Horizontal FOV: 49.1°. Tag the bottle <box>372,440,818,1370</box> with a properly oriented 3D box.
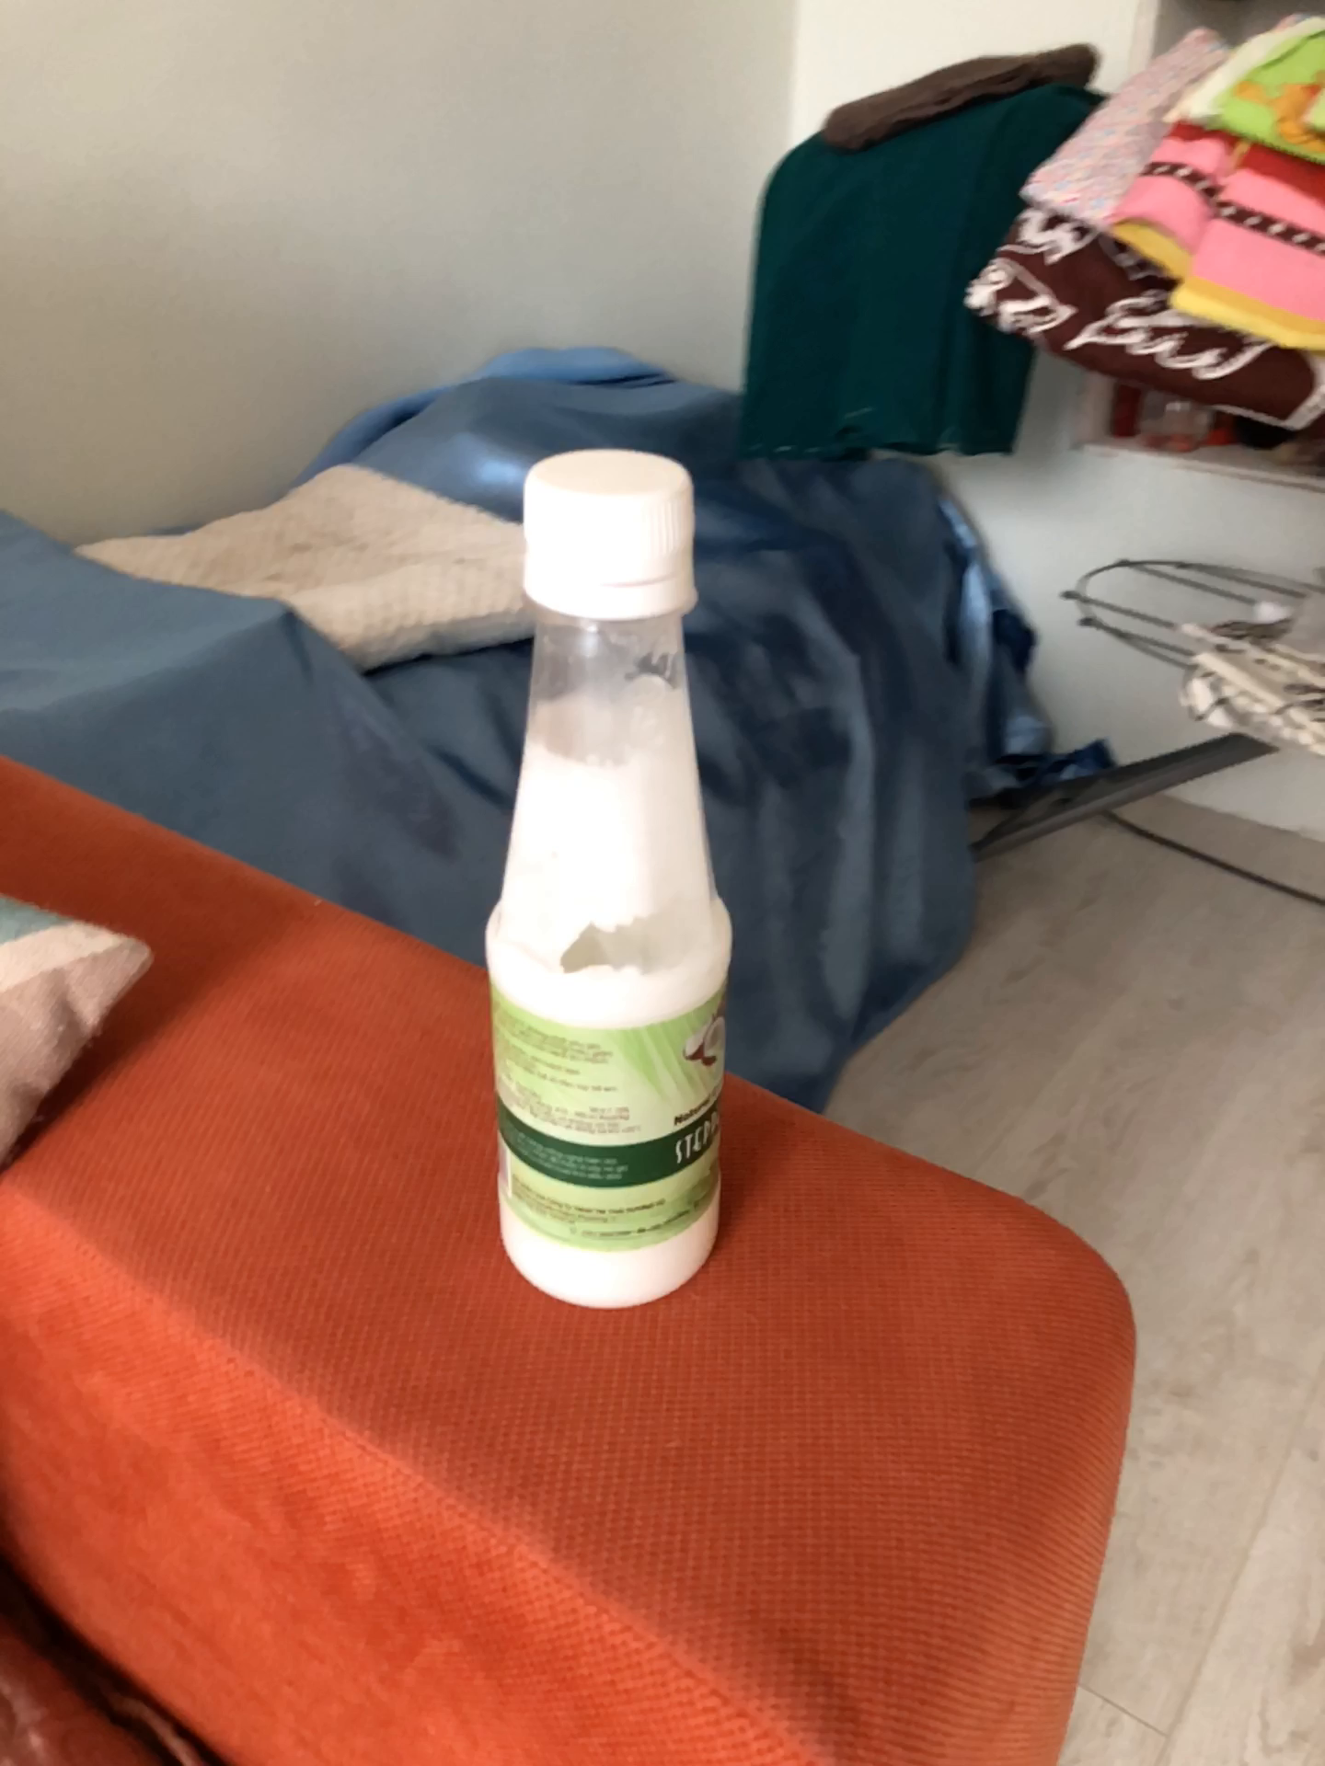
[{"bbox_3d":[-0.012,0.007,0.306,0.060,0.179,0.060,1,28,-1],"label":"bottle"}]
